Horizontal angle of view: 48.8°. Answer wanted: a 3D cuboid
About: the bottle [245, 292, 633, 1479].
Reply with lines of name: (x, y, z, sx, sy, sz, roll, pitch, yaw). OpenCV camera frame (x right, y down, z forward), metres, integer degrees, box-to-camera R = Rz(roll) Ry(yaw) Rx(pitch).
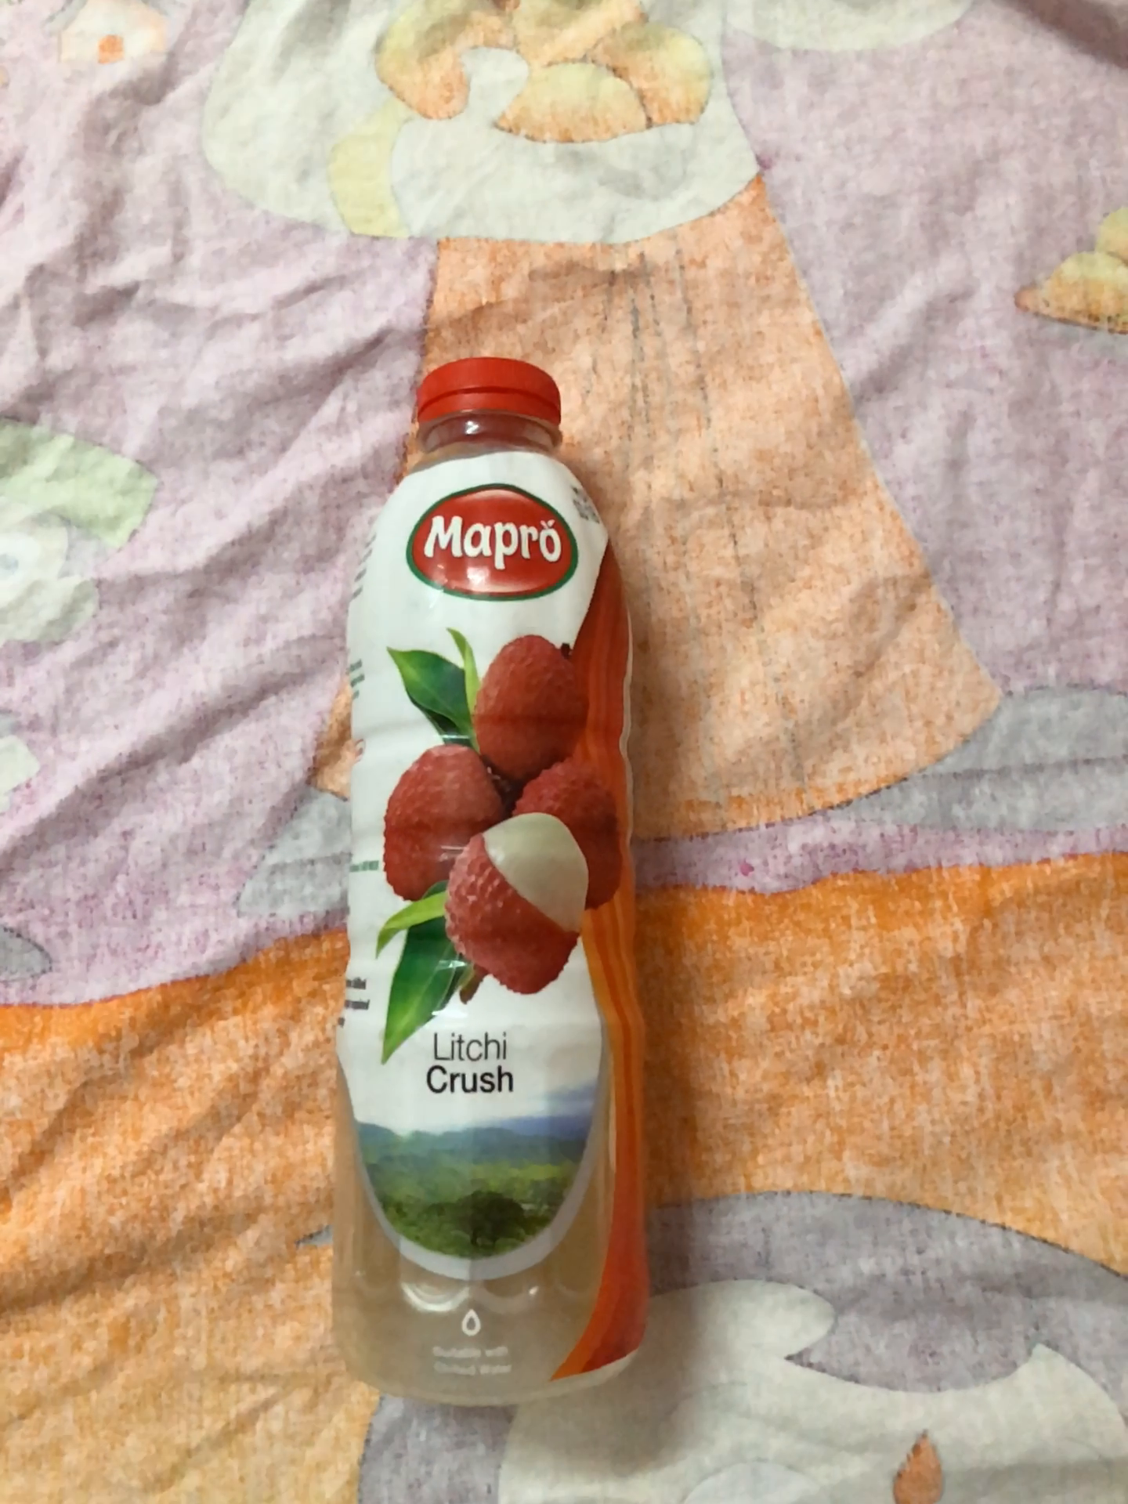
bottle: (-0.025, 0.026, 0.311, 0.080, 0.070, 0.260, -1, 81, 4)
